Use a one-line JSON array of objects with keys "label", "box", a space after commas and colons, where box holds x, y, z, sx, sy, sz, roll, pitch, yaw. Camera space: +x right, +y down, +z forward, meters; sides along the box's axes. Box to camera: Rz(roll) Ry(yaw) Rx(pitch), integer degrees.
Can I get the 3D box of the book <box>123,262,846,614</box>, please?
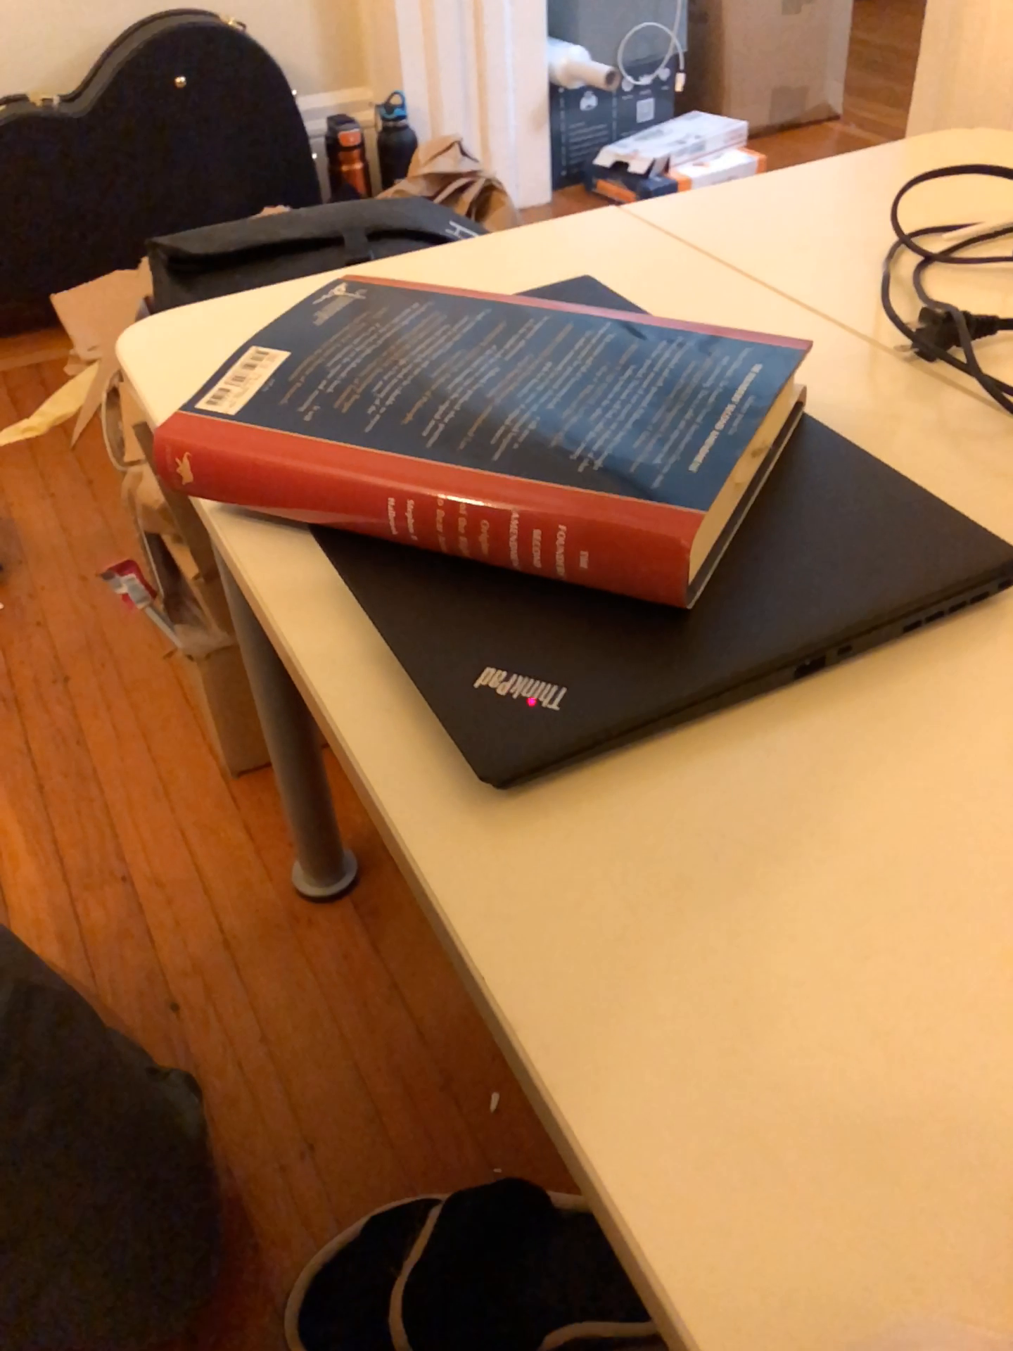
[{"label": "book", "box": [-0.004, -0.113, 0.461, 0.240, 0.040, 0.171, 15, 43, 24]}]
